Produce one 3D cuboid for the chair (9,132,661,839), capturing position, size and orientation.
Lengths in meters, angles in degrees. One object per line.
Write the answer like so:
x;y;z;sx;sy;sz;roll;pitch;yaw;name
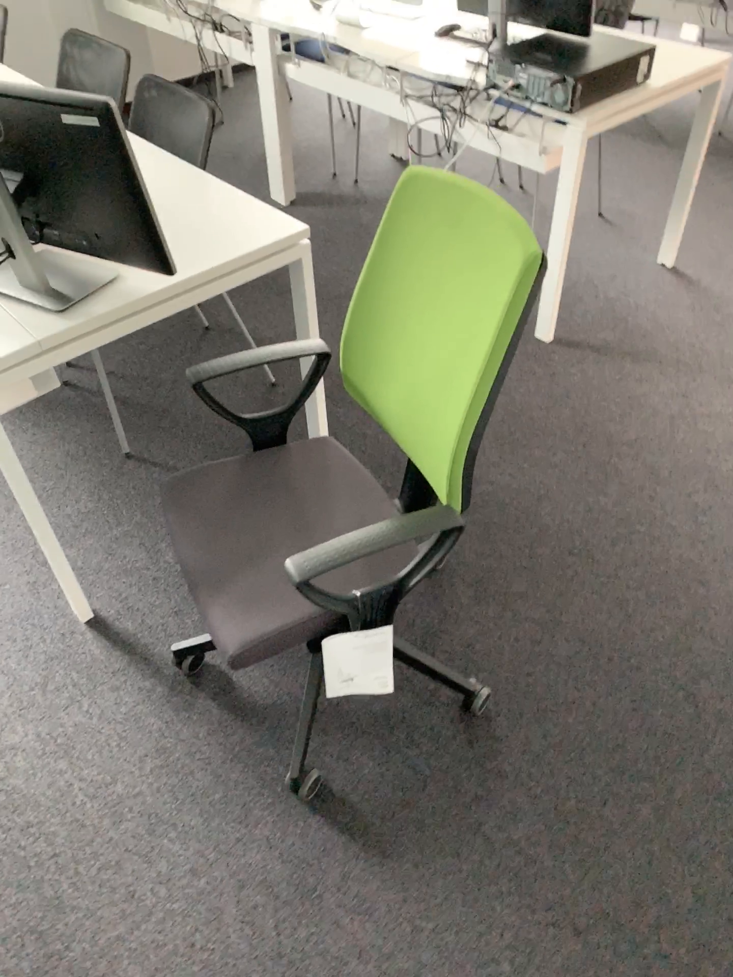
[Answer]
-0.071;0.016;1.461;0.761;1.045;0.623;-21;48;-19;chair
